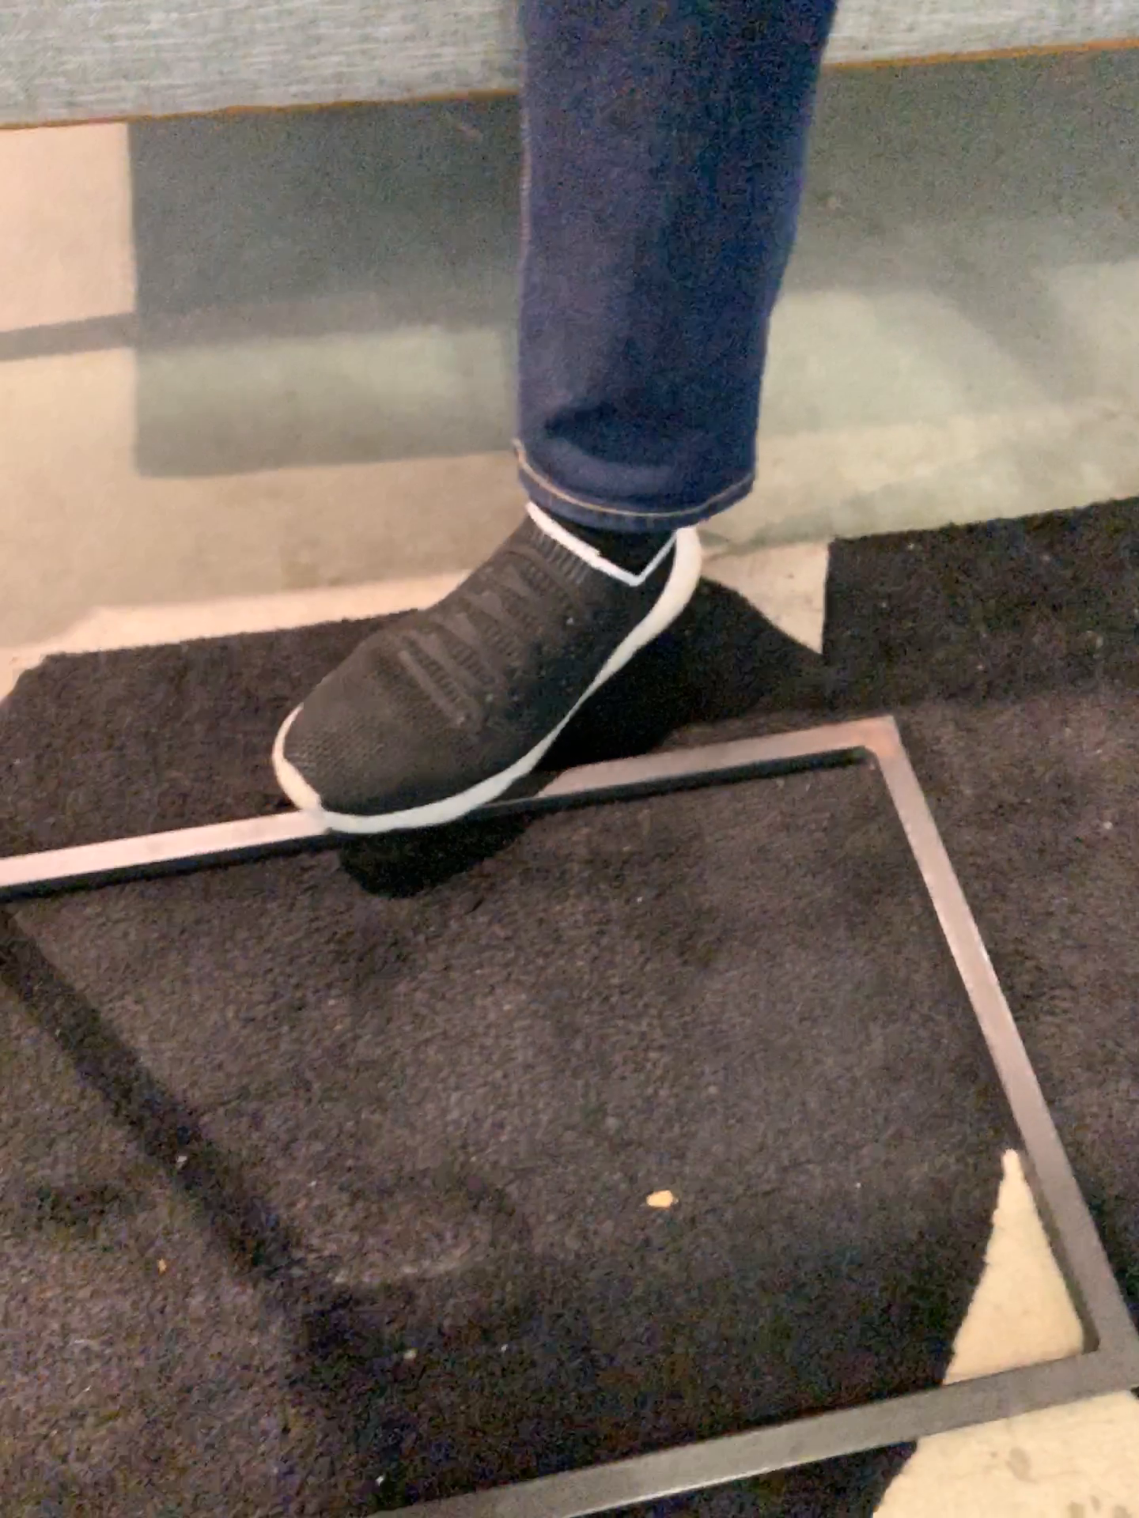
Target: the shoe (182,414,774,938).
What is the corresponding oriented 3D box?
[{"bbox_3d":[-0.039,-0.055,0.635,0.303,0.074,0.116,-40,66,-21],"label":"shoe"}]
